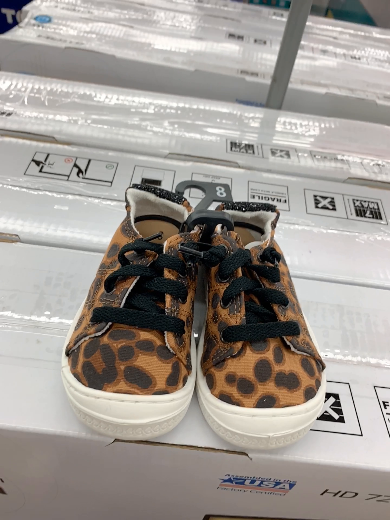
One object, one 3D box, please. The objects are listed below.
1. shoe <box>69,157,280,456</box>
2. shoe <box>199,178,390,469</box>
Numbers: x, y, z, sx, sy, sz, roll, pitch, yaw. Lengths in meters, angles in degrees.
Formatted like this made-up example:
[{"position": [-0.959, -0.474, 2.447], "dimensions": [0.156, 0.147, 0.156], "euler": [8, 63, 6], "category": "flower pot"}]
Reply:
[{"position": [-0.006, 0.010, 0.228], "dimensions": [0.080, 0.040, 0.171], "euler": [6, 45, -3], "category": "shoe"}, {"position": [0.045, 0.022, 0.236], "dimensions": [0.080, 0.040, 0.171], "euler": [5, 45, -4], "category": "shoe"}]
